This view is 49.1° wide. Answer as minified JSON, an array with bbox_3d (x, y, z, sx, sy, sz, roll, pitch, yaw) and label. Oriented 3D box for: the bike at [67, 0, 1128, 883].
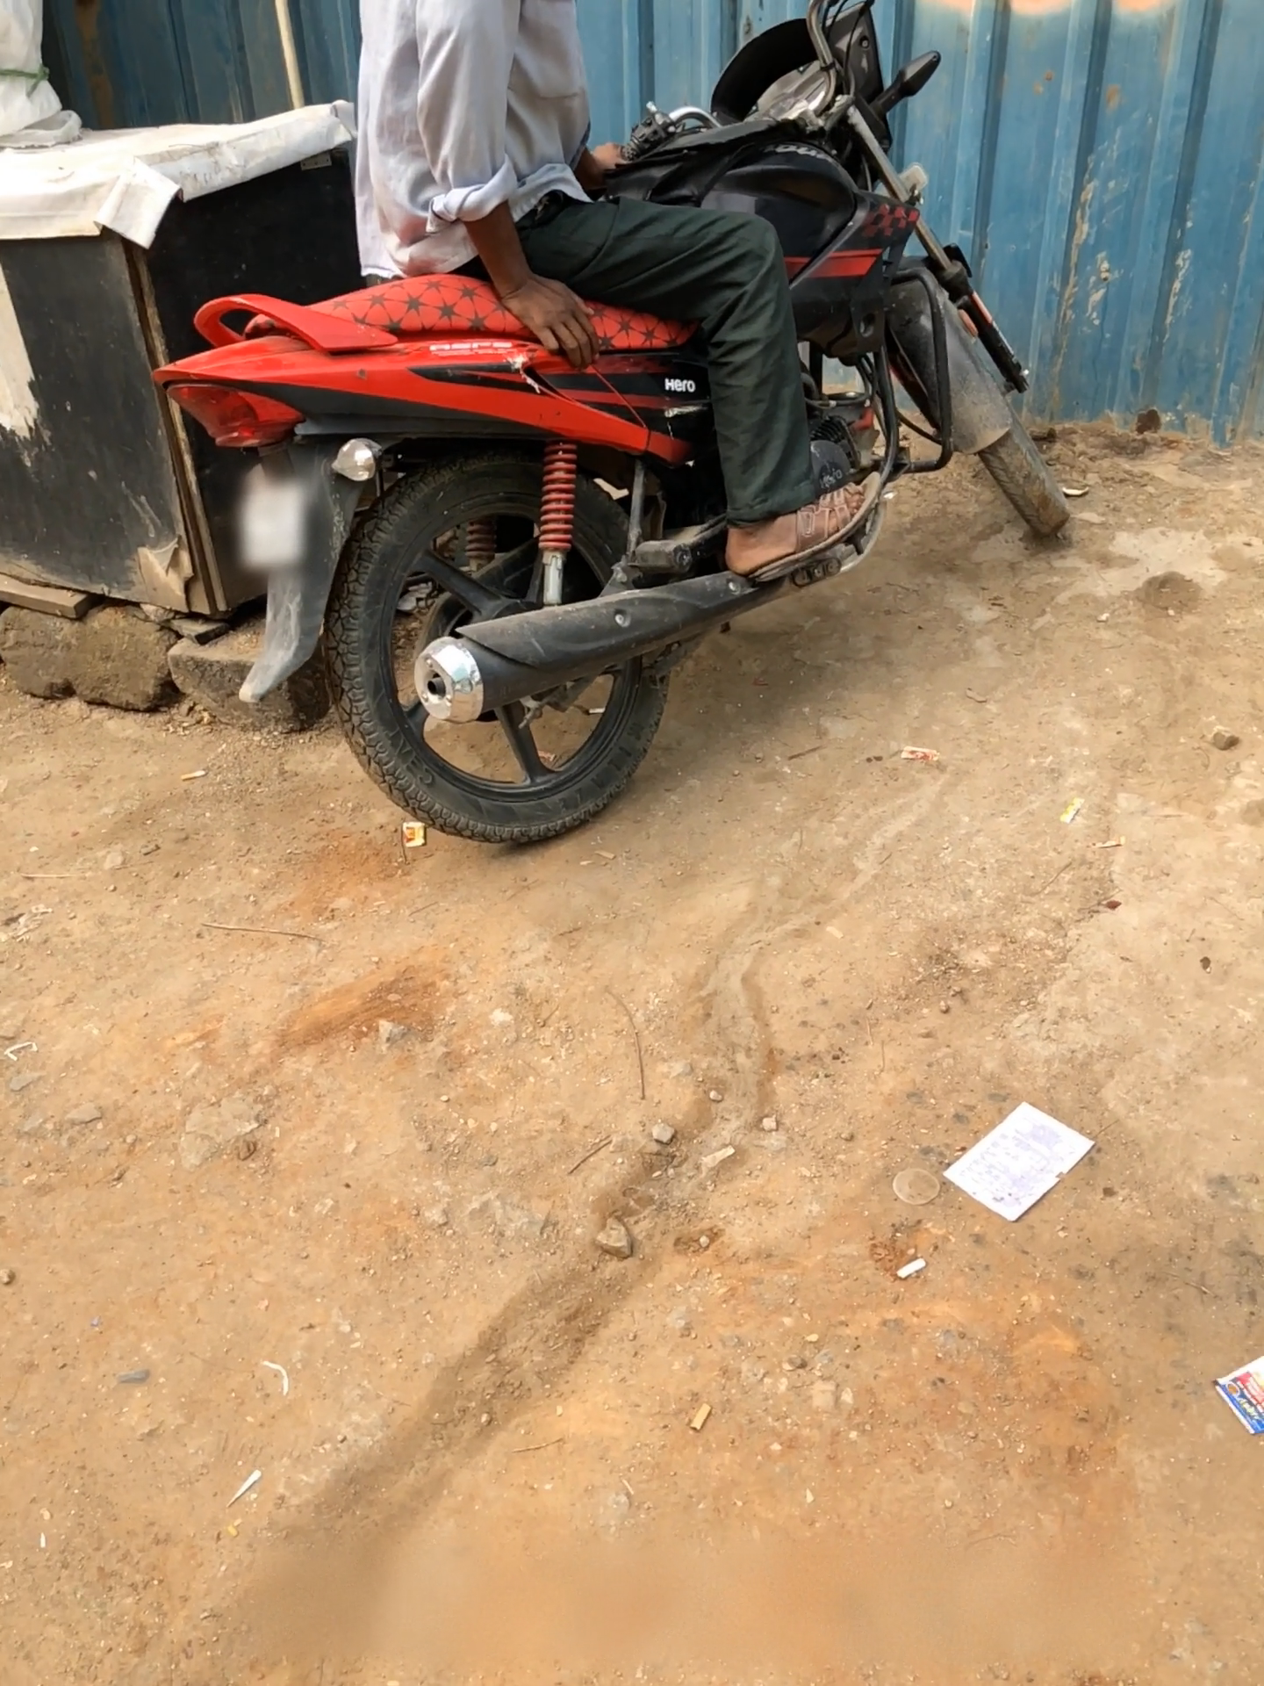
[{"bbox_3d":[0.046,-1.014,2.371,0.735,1.129,1.638,25,48,35],"label":"bike"}]
